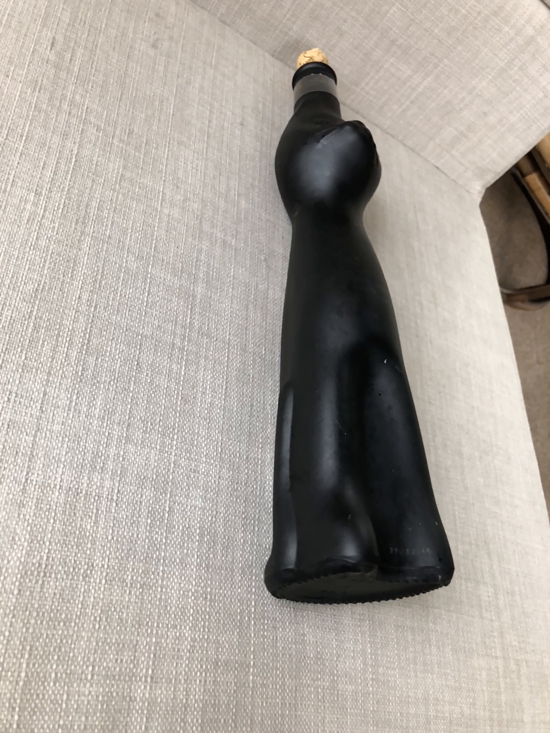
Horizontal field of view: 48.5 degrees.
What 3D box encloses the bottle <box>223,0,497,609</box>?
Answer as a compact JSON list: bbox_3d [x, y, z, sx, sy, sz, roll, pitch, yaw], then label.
[{"bbox_3d":[0.034,-0.045,0.319,0.078,0.079,0.311,19,58,-33],"label":"bottle"}]
